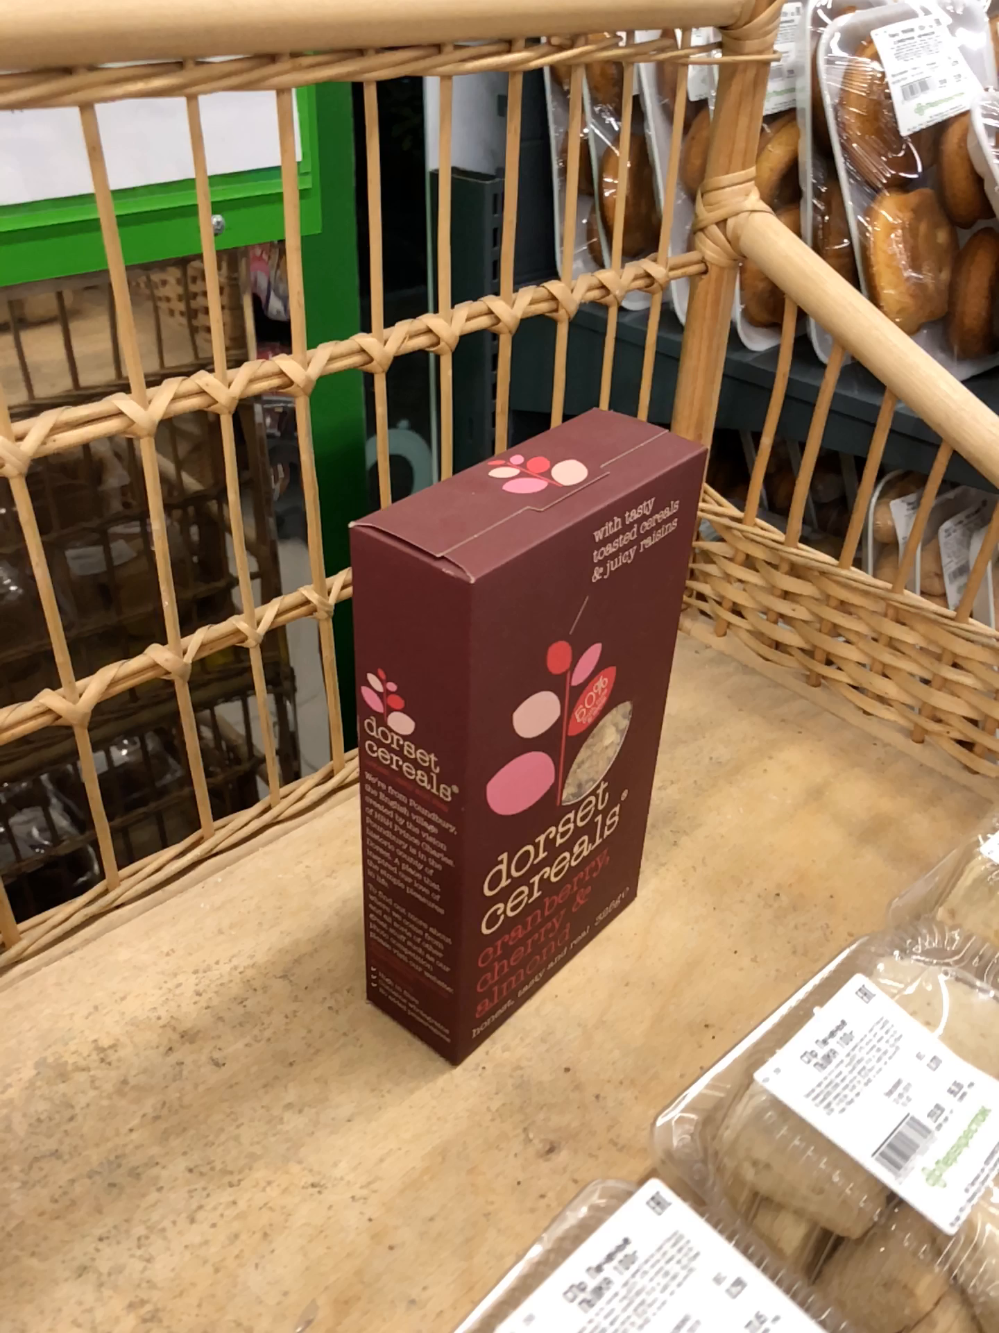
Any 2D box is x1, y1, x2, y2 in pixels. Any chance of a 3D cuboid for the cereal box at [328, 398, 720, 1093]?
[{"bbox_3d":[0.009,0.030,0.382,0.050,0.209,0.120,27,42,31],"label":"cereal box"}]
